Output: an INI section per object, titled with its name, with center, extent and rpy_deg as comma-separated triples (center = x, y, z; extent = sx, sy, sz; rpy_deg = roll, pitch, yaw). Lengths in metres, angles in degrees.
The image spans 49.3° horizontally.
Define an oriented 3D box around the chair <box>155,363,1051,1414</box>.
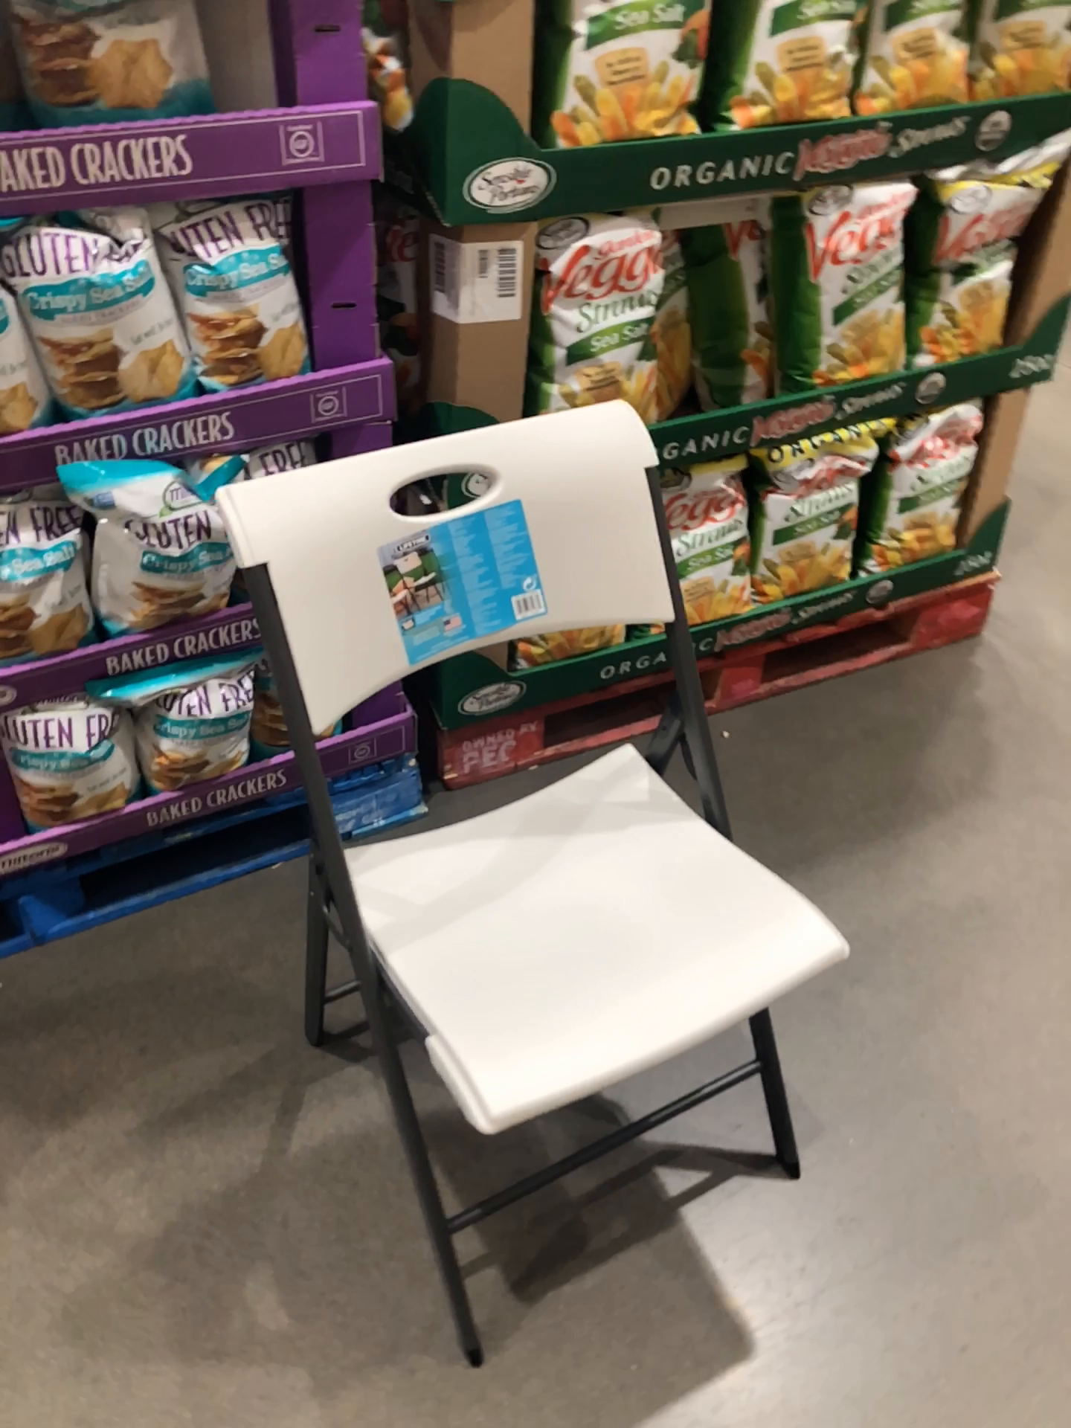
[chair]
center = 0.017, 0.153, 1.253
extent = 0.546, 0.790, 0.596
rpy_deg = -19, 41, -24
